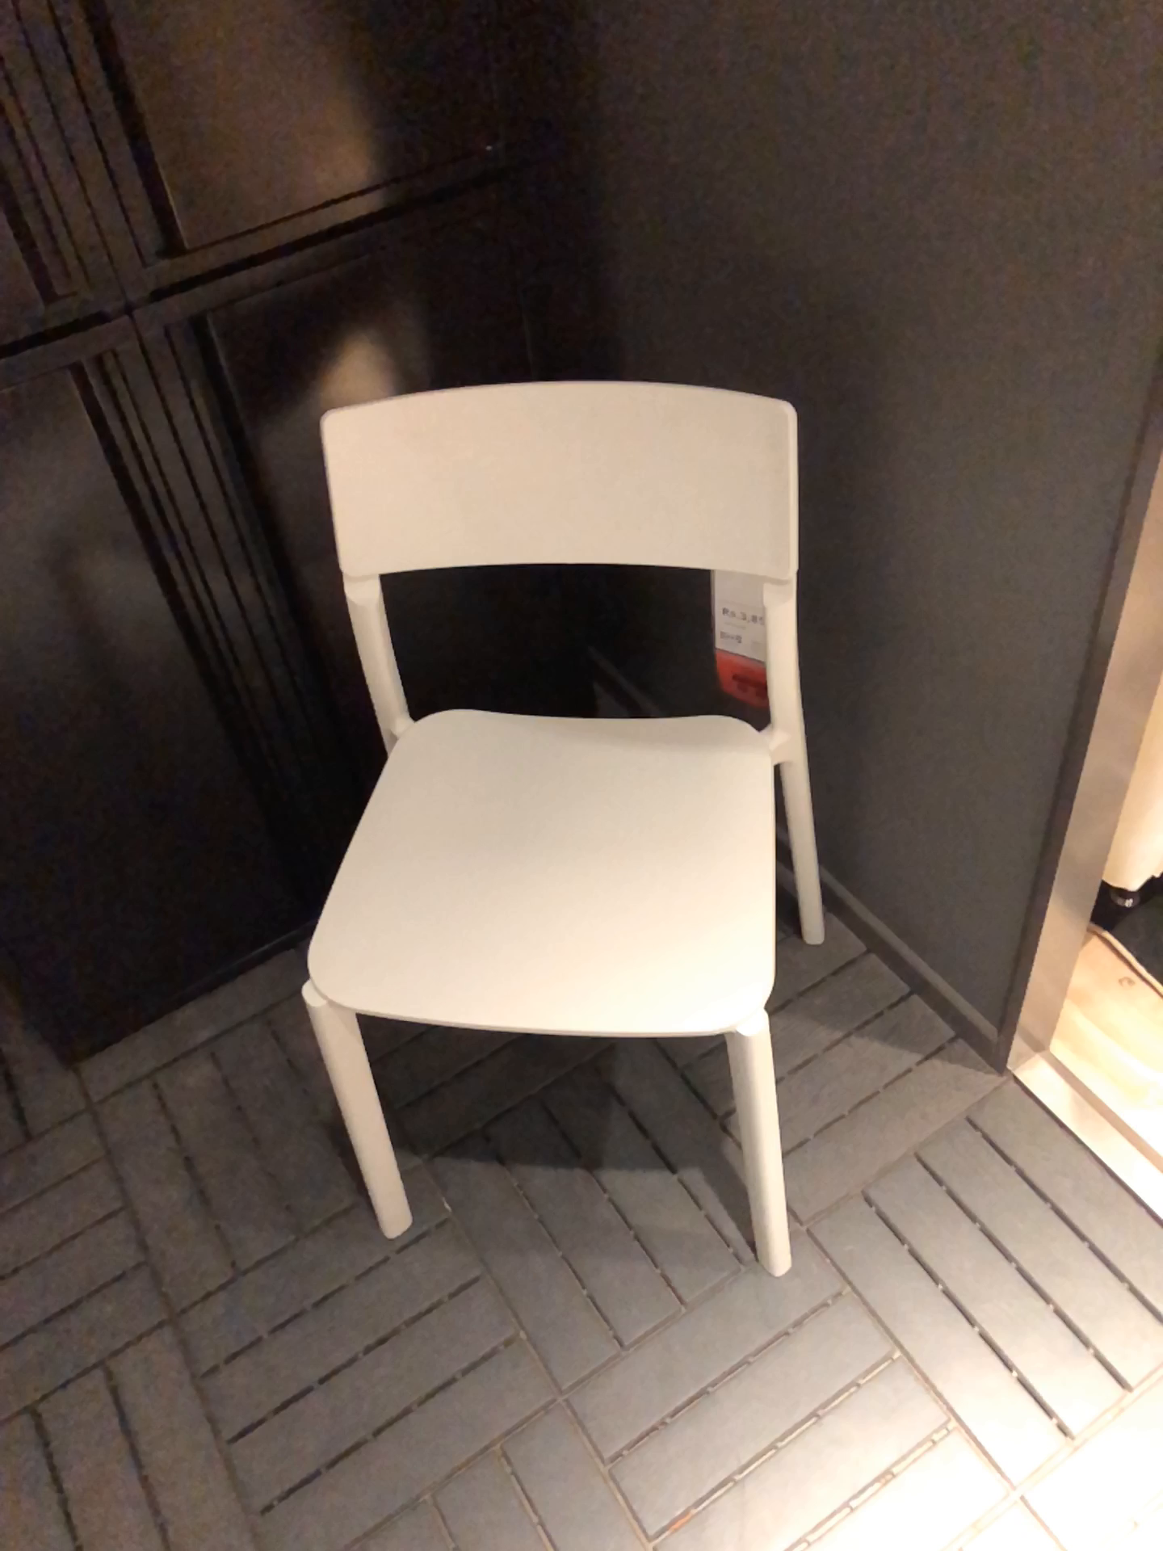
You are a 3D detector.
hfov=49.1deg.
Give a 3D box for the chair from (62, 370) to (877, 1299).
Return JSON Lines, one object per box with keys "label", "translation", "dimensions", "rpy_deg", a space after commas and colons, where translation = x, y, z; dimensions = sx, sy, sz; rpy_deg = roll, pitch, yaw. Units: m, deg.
{"label": "chair", "translation": [-0.011, 0.076, 1.169], "dimensions": [0.500, 0.706, 0.473], "rpy_deg": [2, 46, 10]}
